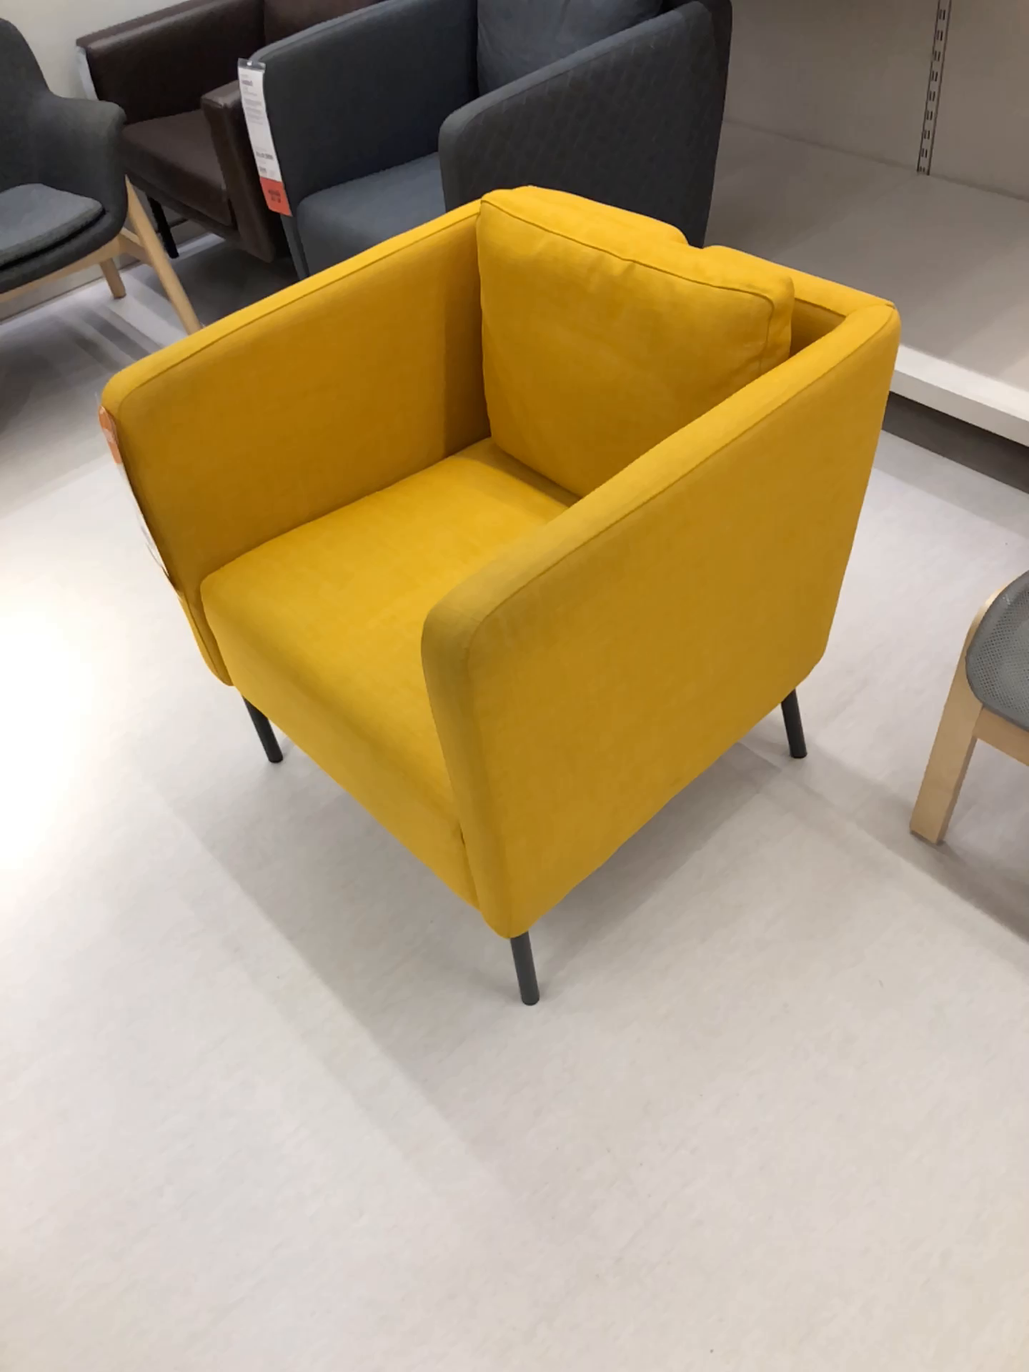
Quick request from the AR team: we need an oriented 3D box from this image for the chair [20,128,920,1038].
[{"bbox_3d":[-0.037,-0.173,1.446,0.661,0.696,0.723,-35,50,-24],"label":"chair"}]
